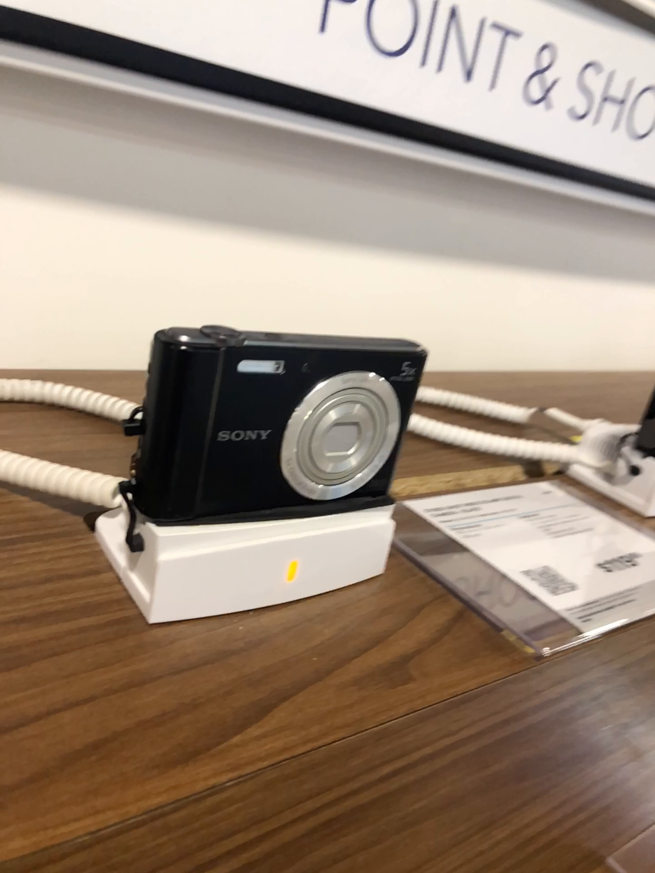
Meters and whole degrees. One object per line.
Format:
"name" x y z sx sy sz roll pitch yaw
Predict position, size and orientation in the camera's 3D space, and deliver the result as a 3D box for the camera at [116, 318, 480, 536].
"camera" -0.007 -0.004 0.218 0.100 0.050 0.030 -1 22 -32
